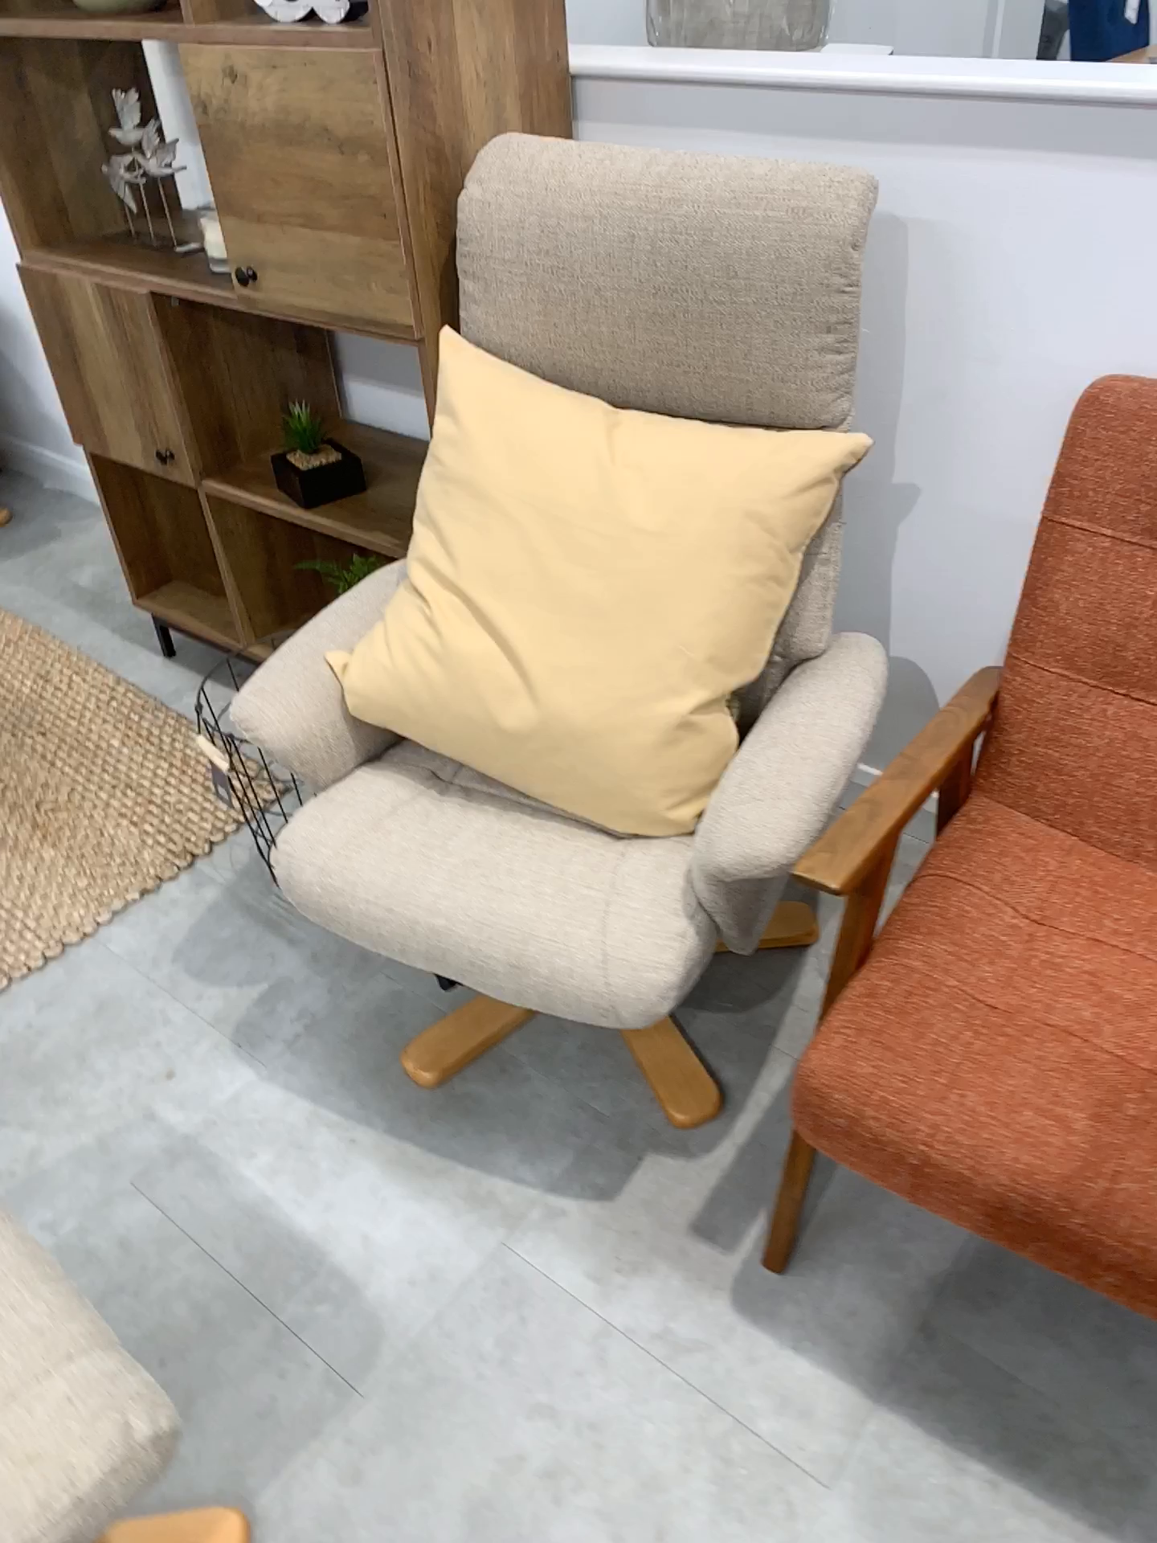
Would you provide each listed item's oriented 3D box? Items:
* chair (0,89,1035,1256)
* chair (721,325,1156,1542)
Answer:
[{"bbox_3d":[-0.035,-0.129,1.415,0.762,1.047,0.662,18,42,18],"label":"chair"},{"bbox_3d":[0.568,0.113,1.199,0.552,0.919,0.621,20,37,29],"label":"chair"}]
